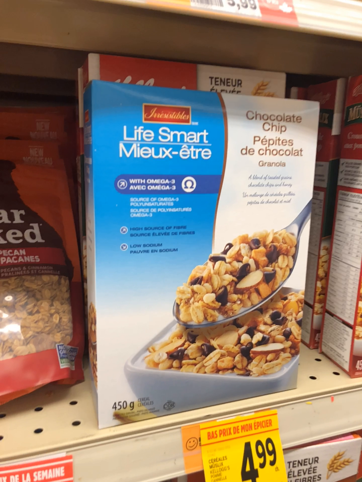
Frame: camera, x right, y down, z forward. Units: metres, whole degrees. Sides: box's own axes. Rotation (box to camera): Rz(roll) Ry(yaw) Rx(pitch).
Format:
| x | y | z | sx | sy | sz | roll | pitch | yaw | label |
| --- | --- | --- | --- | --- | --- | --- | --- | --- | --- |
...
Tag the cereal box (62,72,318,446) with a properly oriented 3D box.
| x | y | z | sx | sy | sz | roll | pitch | yaw | label |
| --- | --- | --- | --- | --- | --- | --- | --- | --- | --- |
| 0.007 | 0.012 | 0.306 | 0.180 | 0.239 | 0.050 | -2 | 9 | -21 | cereal box |
